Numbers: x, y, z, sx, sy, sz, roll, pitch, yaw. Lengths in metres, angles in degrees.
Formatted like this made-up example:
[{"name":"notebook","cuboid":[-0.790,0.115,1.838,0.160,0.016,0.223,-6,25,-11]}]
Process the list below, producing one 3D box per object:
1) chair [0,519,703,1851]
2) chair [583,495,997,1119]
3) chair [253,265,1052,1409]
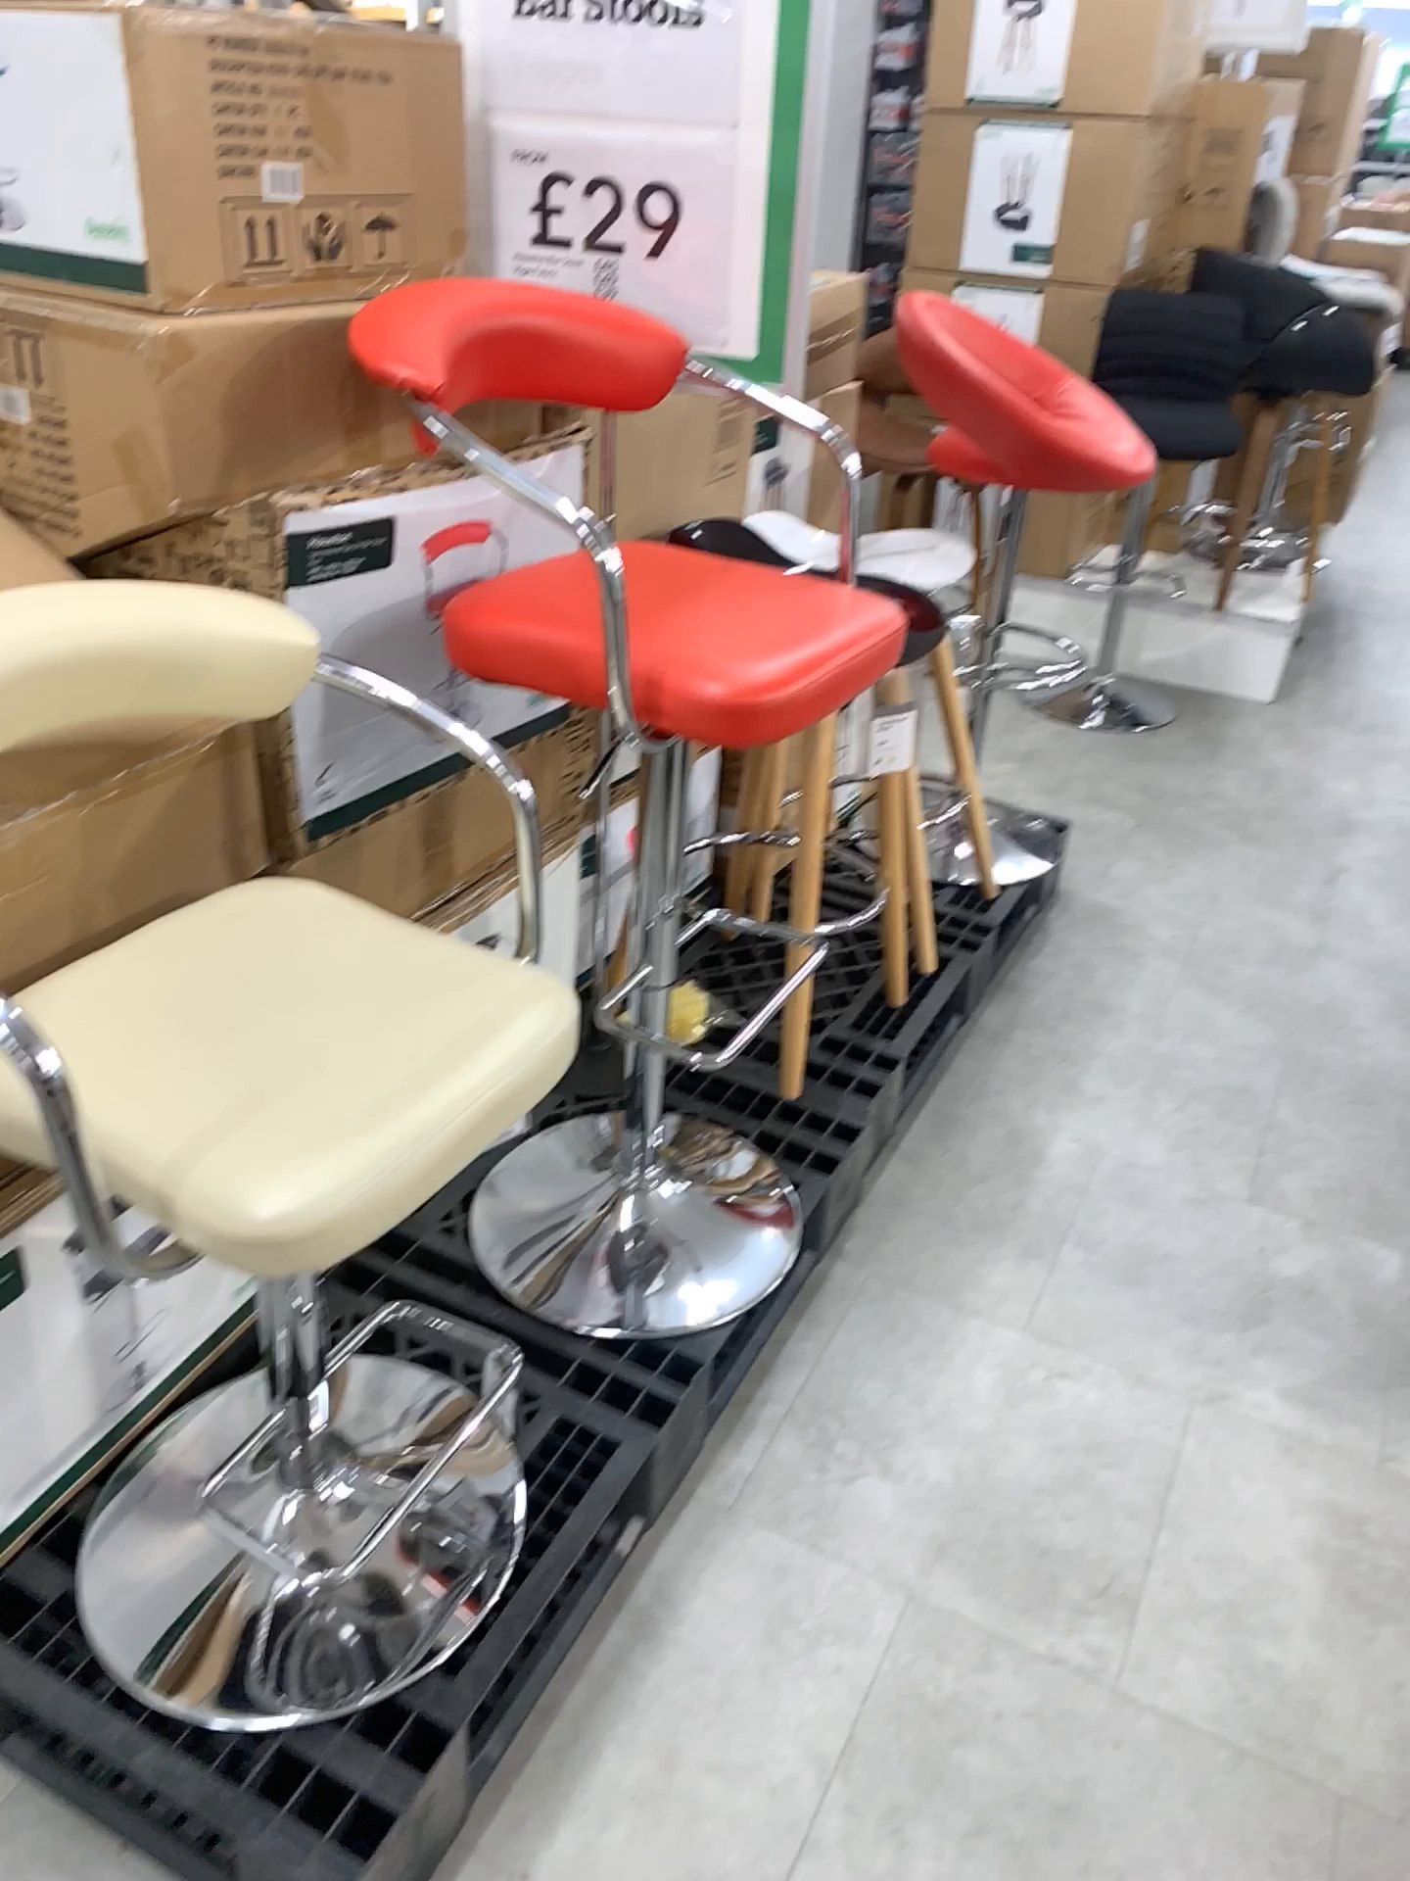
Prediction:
[{"name":"chair","cuboid":[-0.341,0.164,1.176,0.459,0.838,0.499,16,31,21]},{"name":"chair","cuboid":[0.110,-0.206,2.049,0.389,0.710,0.428,17,32,22]},{"name":"chair","cuboid":[-0.044,-0.137,1.515,0.529,0.977,0.529,16,31,21]}]
